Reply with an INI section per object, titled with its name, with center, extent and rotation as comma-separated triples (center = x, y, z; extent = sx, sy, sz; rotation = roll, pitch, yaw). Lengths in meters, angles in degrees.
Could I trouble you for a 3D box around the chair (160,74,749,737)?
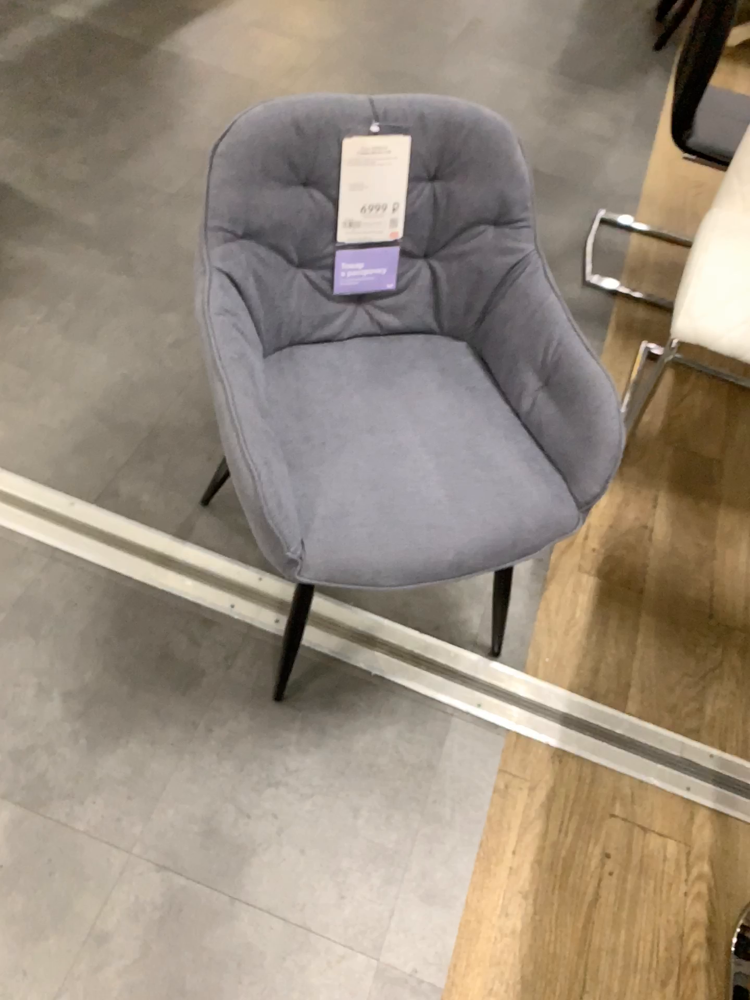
[chair]
center = 0.010, -0.115, 1.211
extent = 0.561, 0.776, 0.592
rotation = -7, 54, -16
